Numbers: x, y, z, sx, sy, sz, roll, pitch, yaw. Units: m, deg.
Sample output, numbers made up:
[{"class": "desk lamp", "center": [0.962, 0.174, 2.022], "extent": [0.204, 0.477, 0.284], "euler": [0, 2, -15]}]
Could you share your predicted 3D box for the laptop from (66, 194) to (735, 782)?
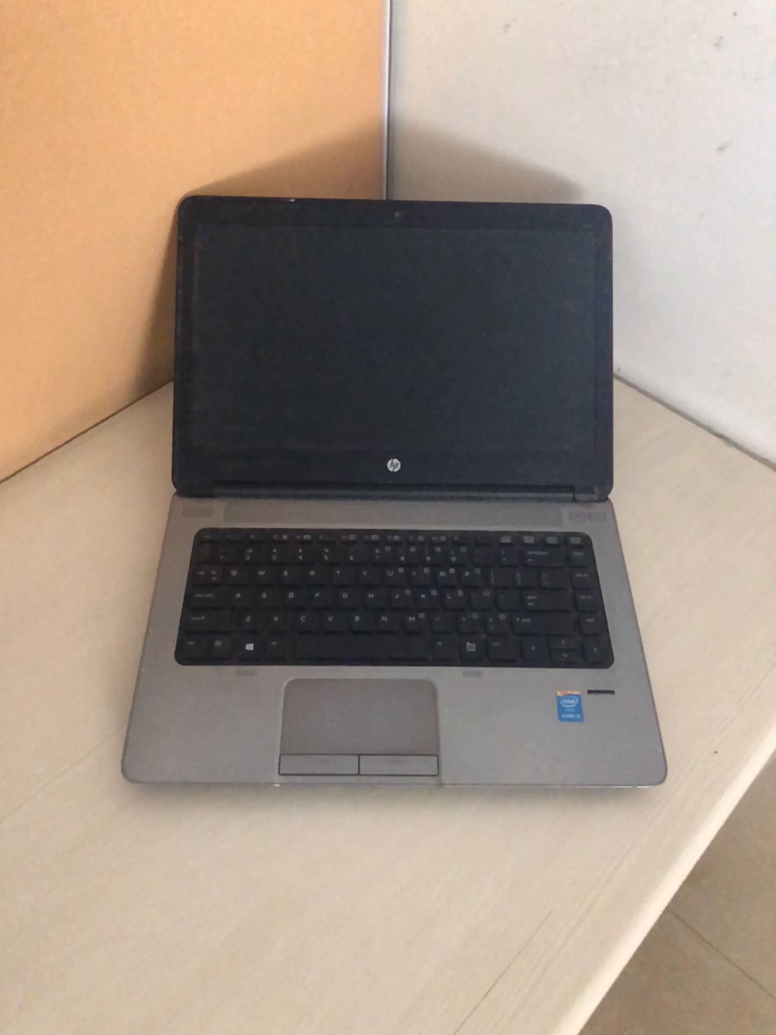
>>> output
[{"class": "laptop", "center": [0.007, -0.043, 0.569], "extent": [0.316, 0.125, 0.392], "euler": [1, 52, -1]}]
